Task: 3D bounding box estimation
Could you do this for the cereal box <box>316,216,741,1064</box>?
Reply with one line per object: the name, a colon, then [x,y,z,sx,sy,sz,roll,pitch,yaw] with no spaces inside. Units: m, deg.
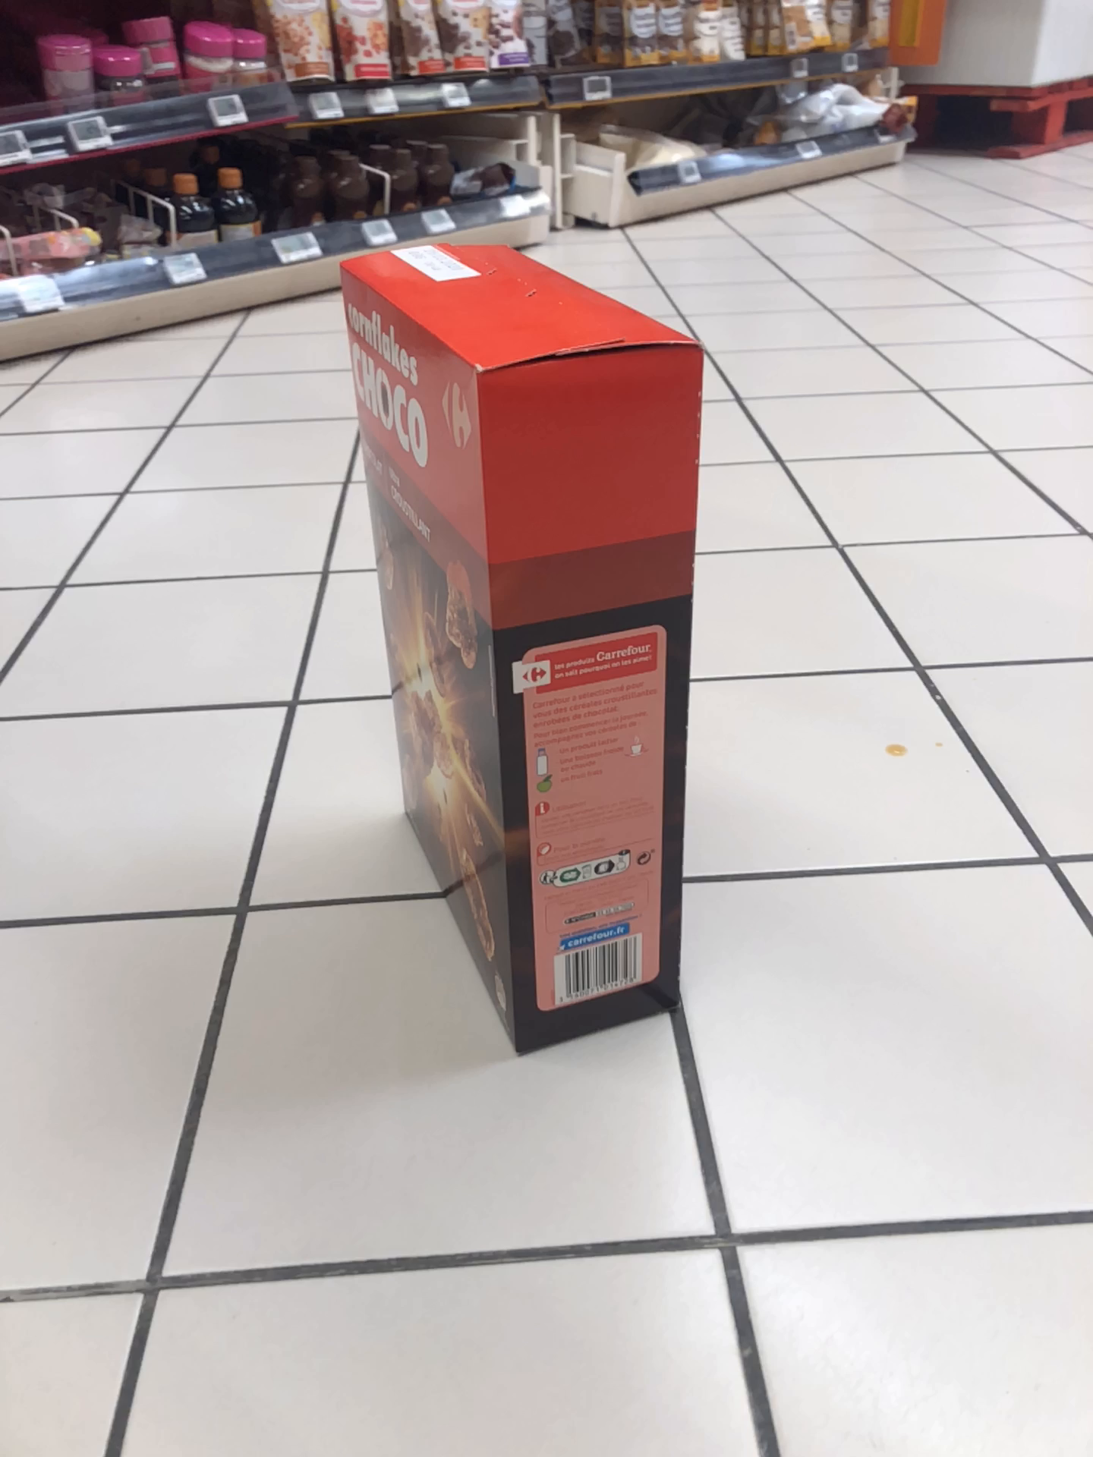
cereal box: [-0.014,-0.045,0.495,0.090,0.278,0.201,-12,32,-16]
